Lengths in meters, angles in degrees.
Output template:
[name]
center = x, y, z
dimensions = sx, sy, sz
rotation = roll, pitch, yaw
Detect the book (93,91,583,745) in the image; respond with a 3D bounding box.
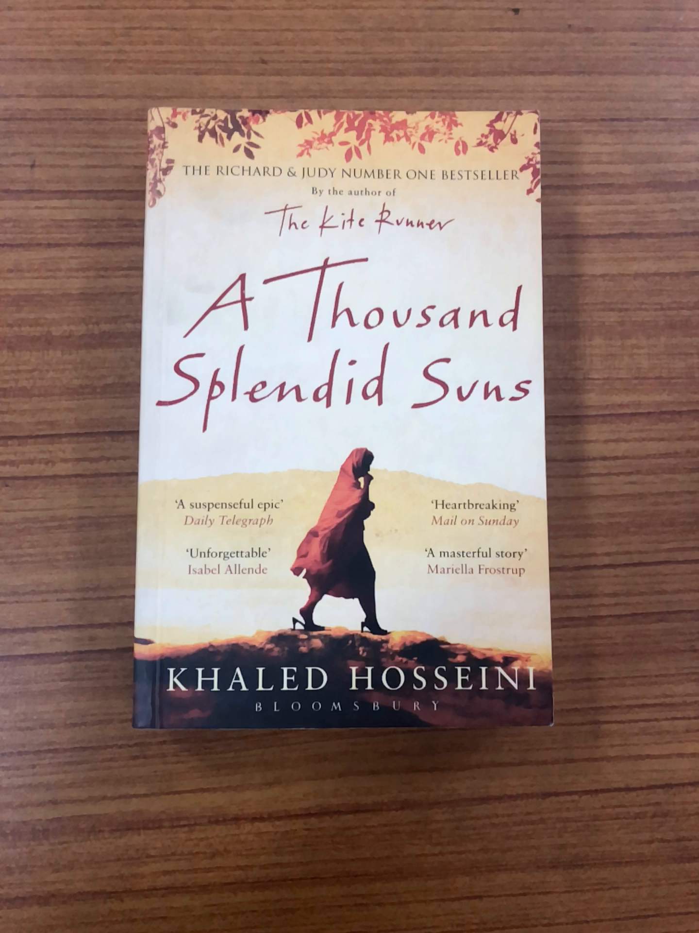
[book]
center = -0.003, -0.015, 0.245
dimensions = 0.140, 0.030, 0.190
rotation = 0, 86, -3
